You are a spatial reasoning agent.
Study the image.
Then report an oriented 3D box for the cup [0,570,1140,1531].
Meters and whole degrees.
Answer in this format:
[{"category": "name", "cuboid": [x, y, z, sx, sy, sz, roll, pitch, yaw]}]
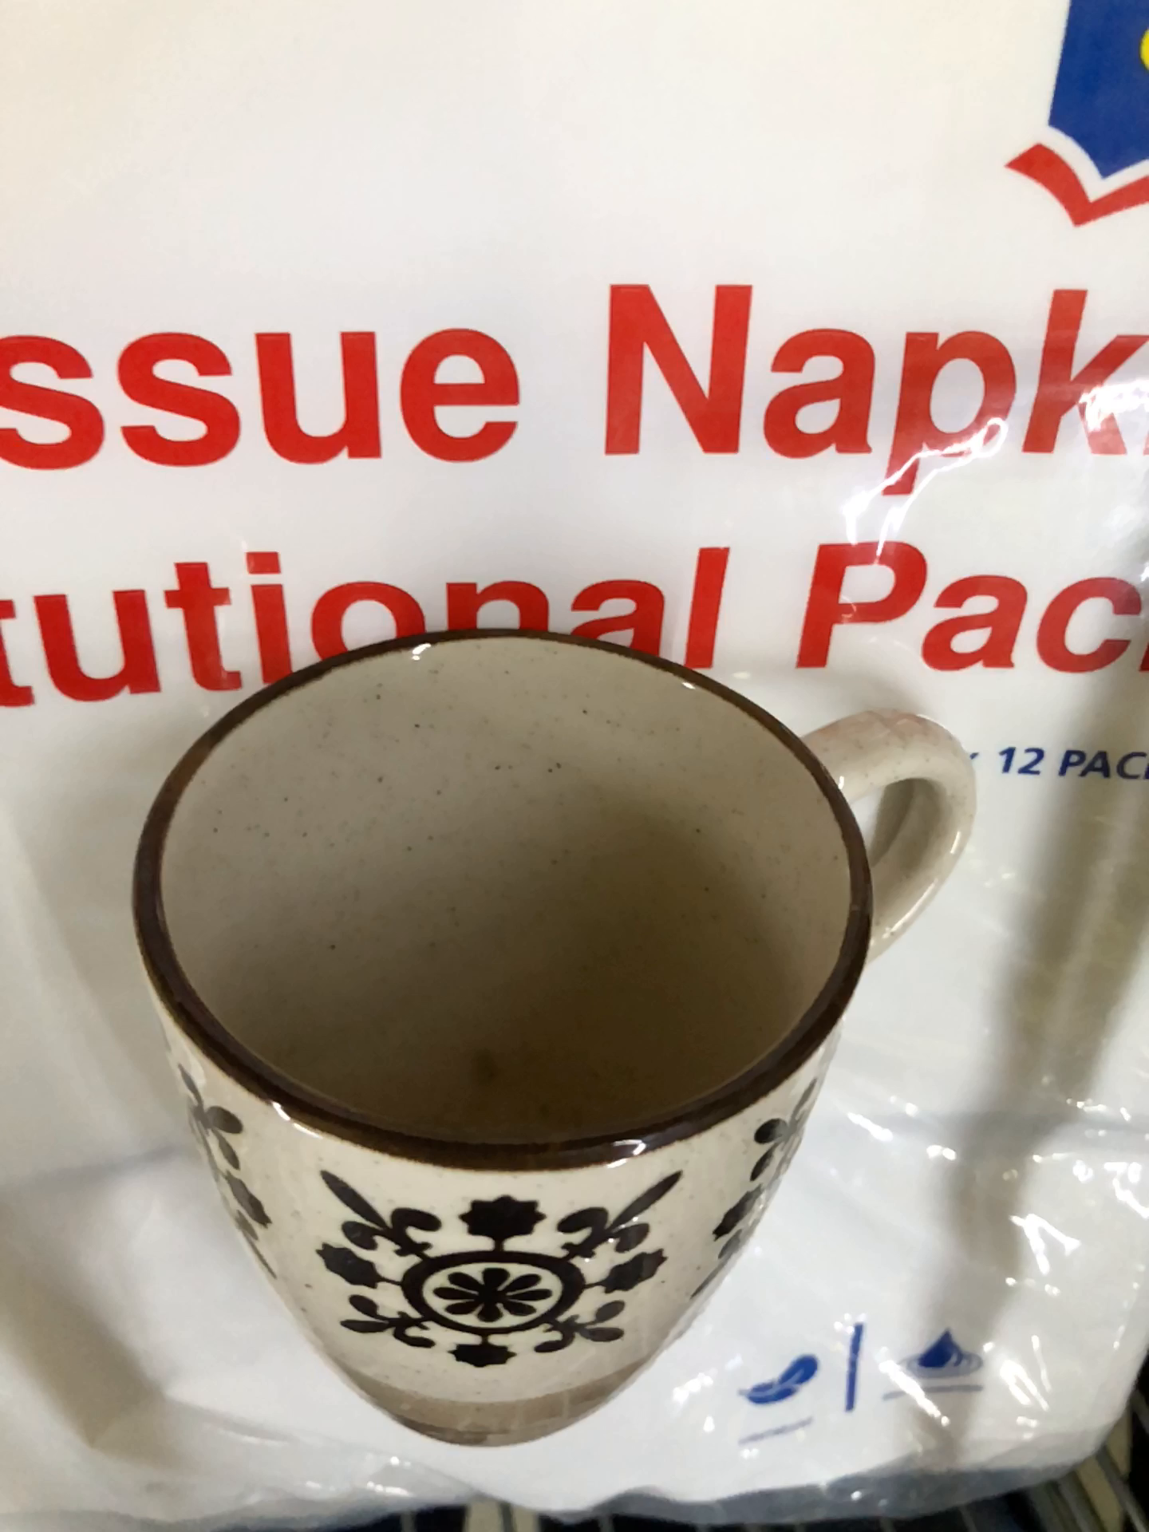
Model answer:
[{"category": "cup", "cuboid": [-0.004, 0.050, 0.173, 0.100, 0.070, 0.110, -20, 135, -28]}]
